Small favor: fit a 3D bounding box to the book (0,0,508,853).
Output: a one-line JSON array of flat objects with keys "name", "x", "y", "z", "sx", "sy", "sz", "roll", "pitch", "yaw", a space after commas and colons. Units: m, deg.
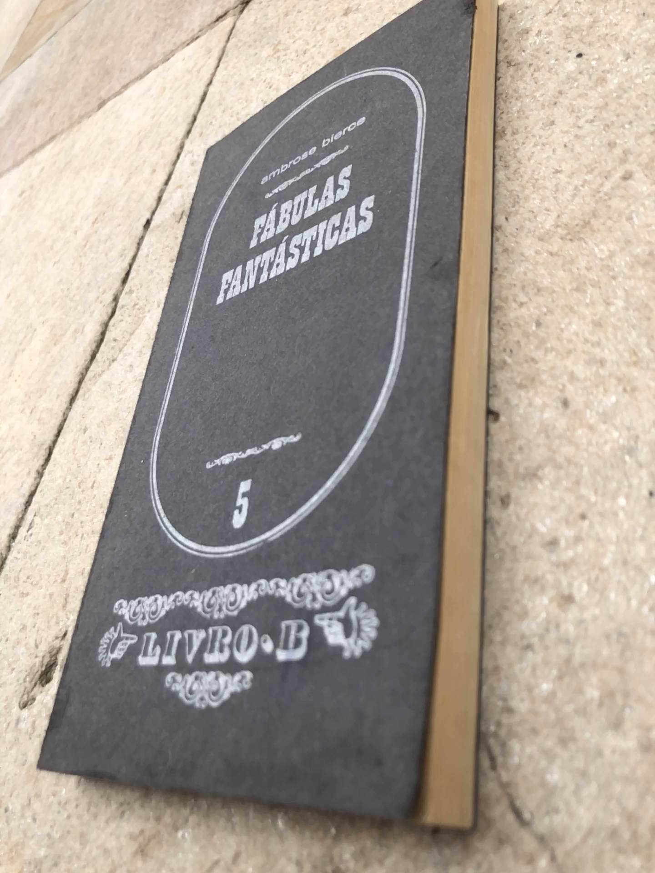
[{"name": "book", "x": -0.013, "y": -0.018, "z": 0.159, "sx": 0.105, "sy": 0.013, "sz": 0.176, "roll": -16, "pitch": 55, "yaw": 39}]
